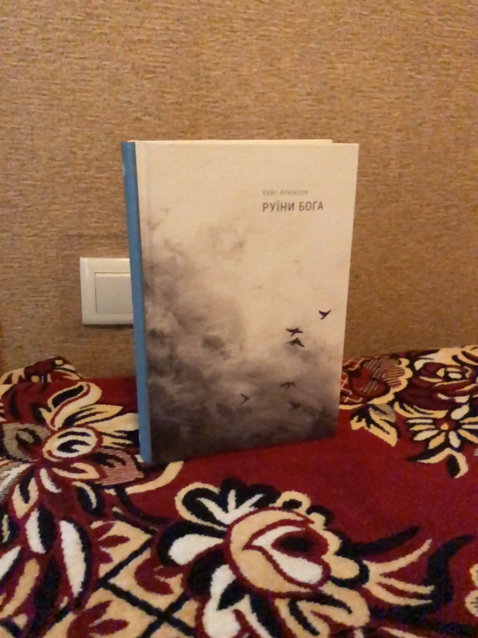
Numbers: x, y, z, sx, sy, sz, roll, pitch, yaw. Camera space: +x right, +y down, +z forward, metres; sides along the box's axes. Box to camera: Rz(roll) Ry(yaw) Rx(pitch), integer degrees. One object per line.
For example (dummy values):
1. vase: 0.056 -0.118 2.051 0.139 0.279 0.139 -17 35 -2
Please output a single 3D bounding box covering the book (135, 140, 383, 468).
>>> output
1. book: 0.011 -0.011 0.361 0.150 0.210 0.040 -4 18 -15
